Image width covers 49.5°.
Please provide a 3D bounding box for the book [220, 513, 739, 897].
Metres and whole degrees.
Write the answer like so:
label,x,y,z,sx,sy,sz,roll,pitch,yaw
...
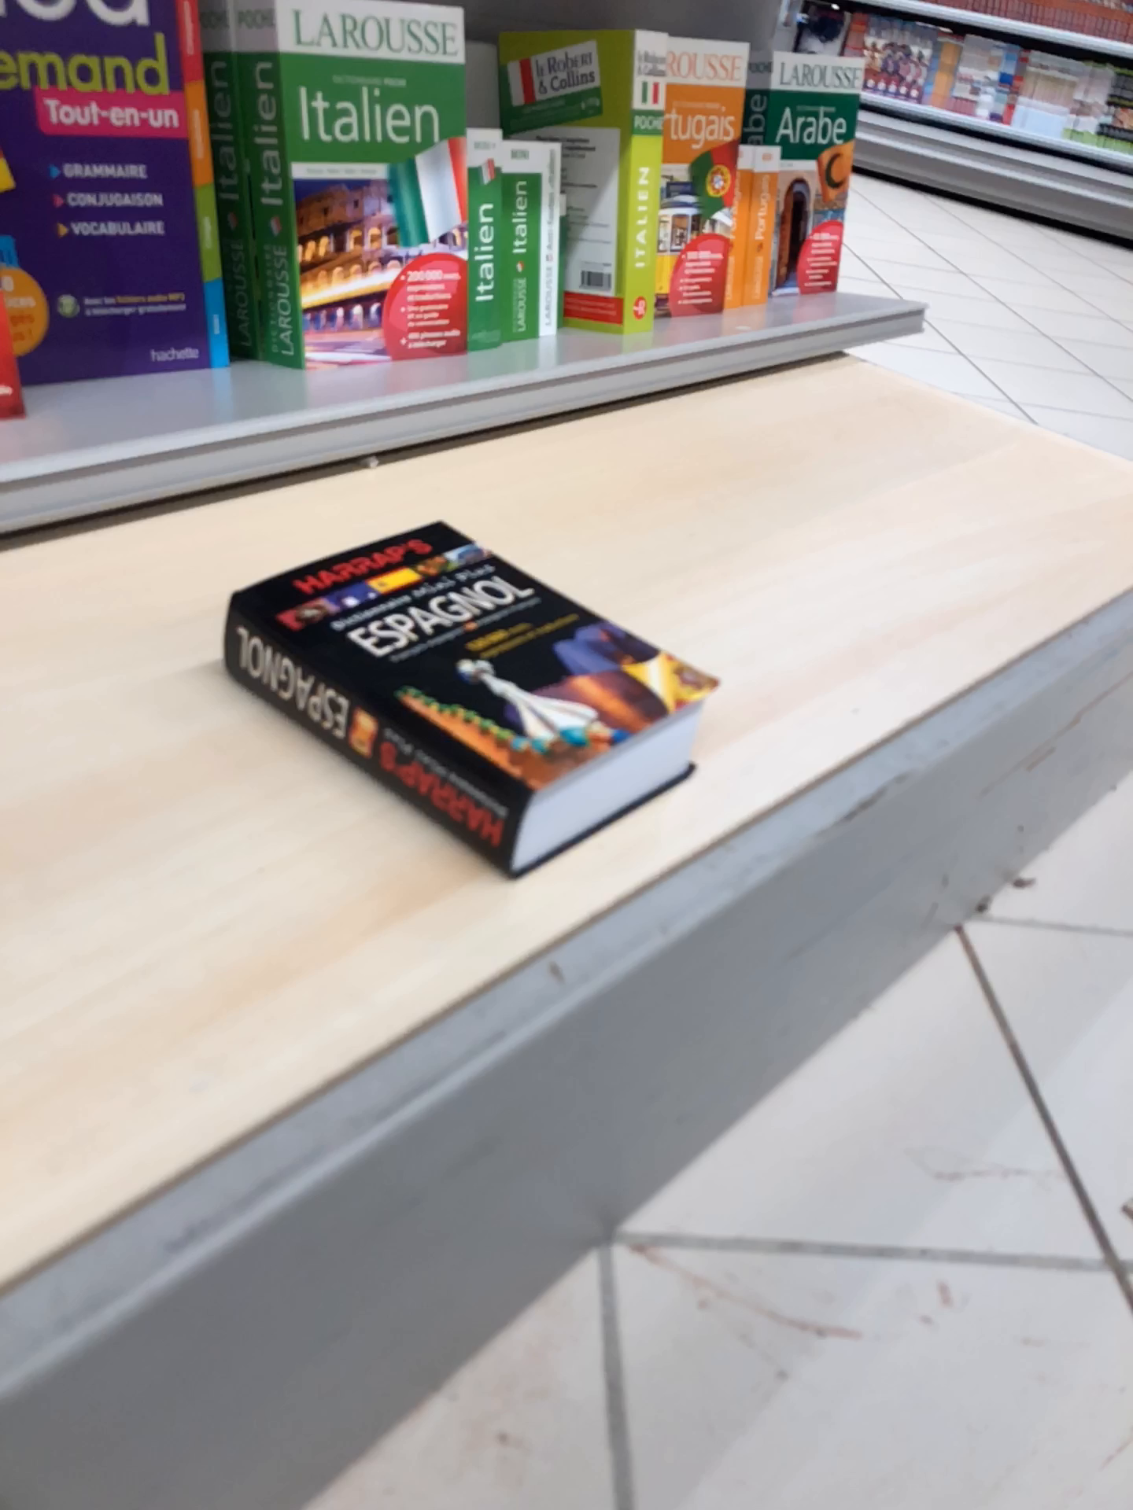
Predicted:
label,x,y,z,sx,sy,sz,roll,pitch,yaw
book,-0.032,-0.026,0.425,0.145,0.038,0.104,34,41,28
